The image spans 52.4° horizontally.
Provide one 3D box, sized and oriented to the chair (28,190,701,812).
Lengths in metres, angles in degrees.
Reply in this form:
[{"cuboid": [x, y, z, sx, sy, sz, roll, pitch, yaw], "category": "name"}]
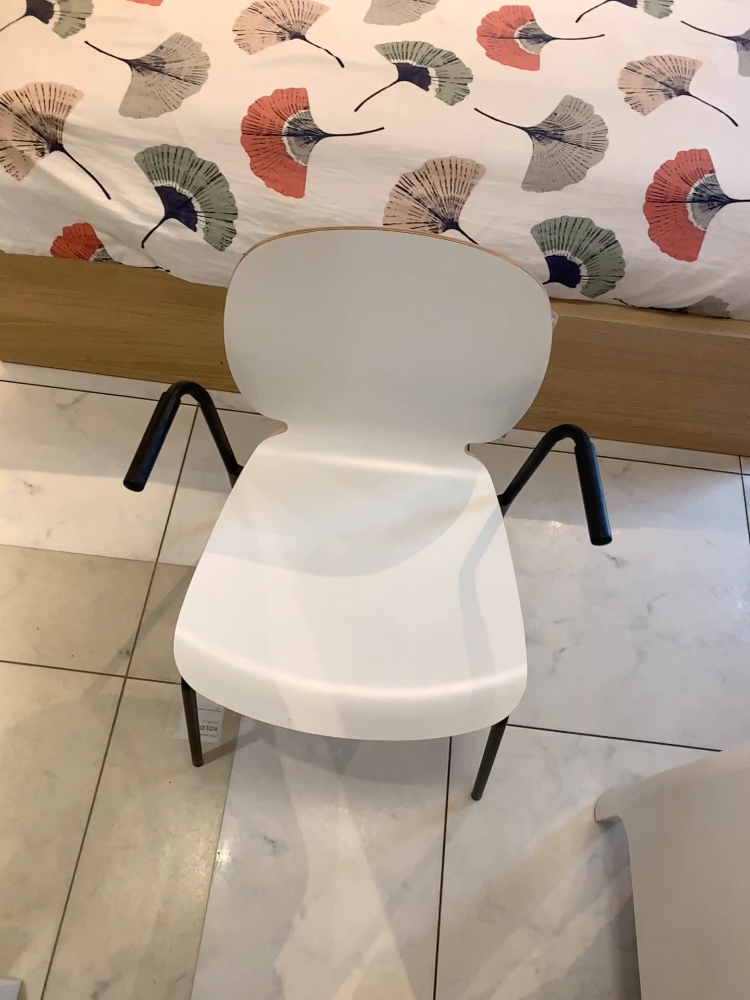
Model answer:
[{"cuboid": [0.000, 0.077, 1.054, 0.550, 0.699, 0.541, 7, 62, 0], "category": "chair"}]
